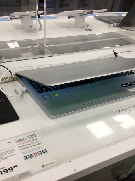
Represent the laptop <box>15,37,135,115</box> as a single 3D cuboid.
[{"bbox_3d":[0.090,-0.066,0.527,0.392,0.083,0.220,-14,40,-19],"label":"laptop"}]
